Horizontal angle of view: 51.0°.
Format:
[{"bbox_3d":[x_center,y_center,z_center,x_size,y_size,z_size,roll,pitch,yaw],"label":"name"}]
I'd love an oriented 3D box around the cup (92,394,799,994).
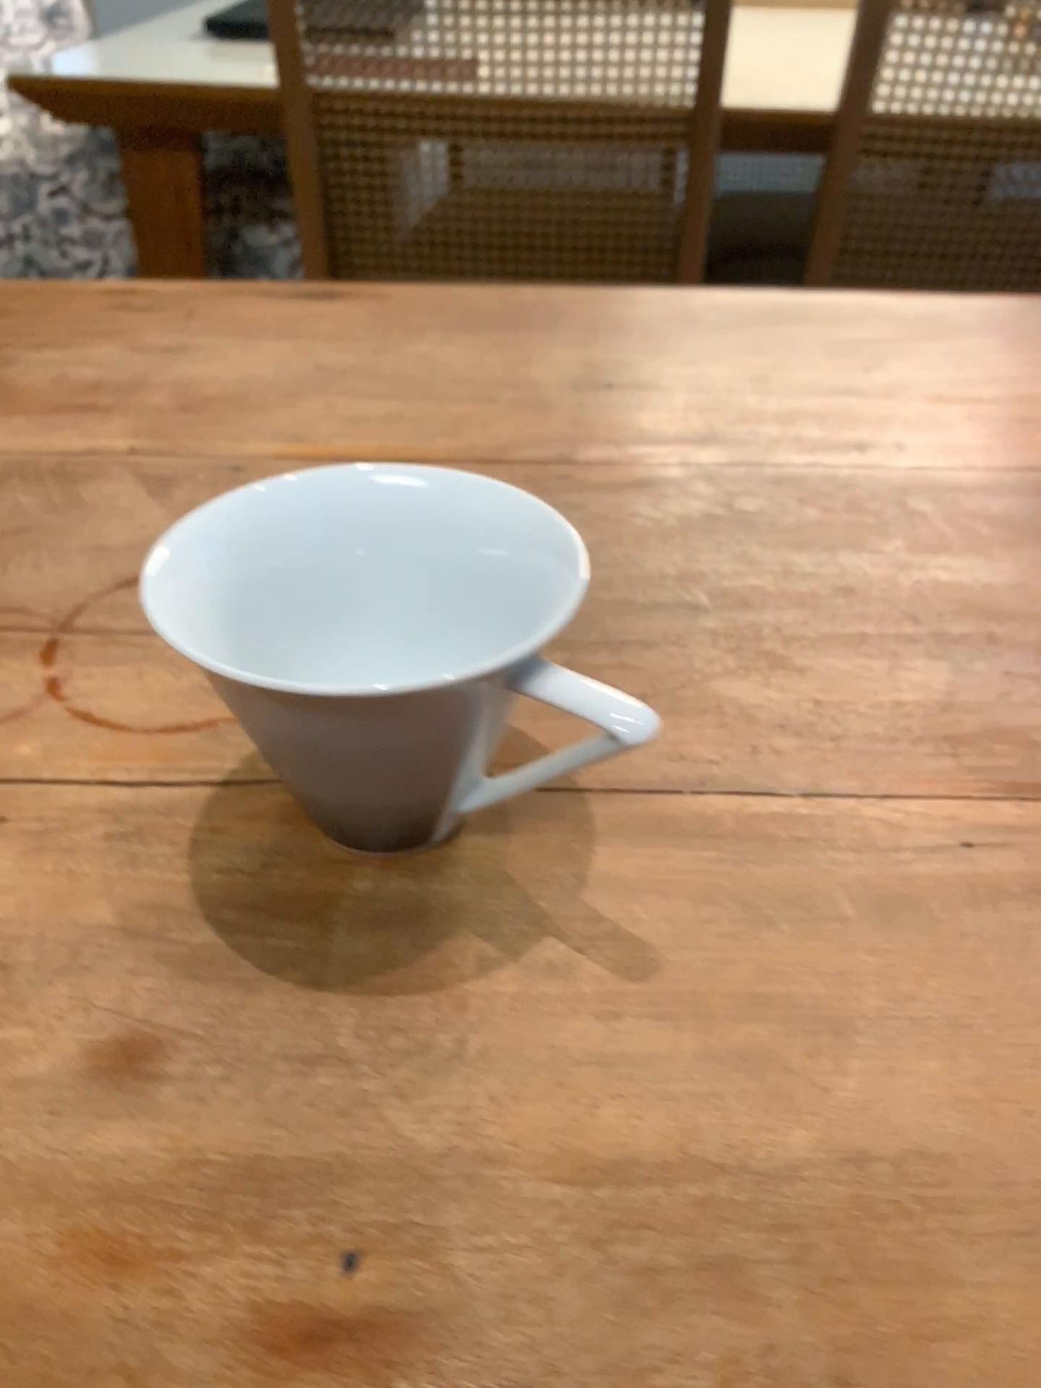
[{"bbox_3d":[-0.017,-0.011,0.249,0.120,0.060,0.090,27,44,30],"label":"cup"}]
